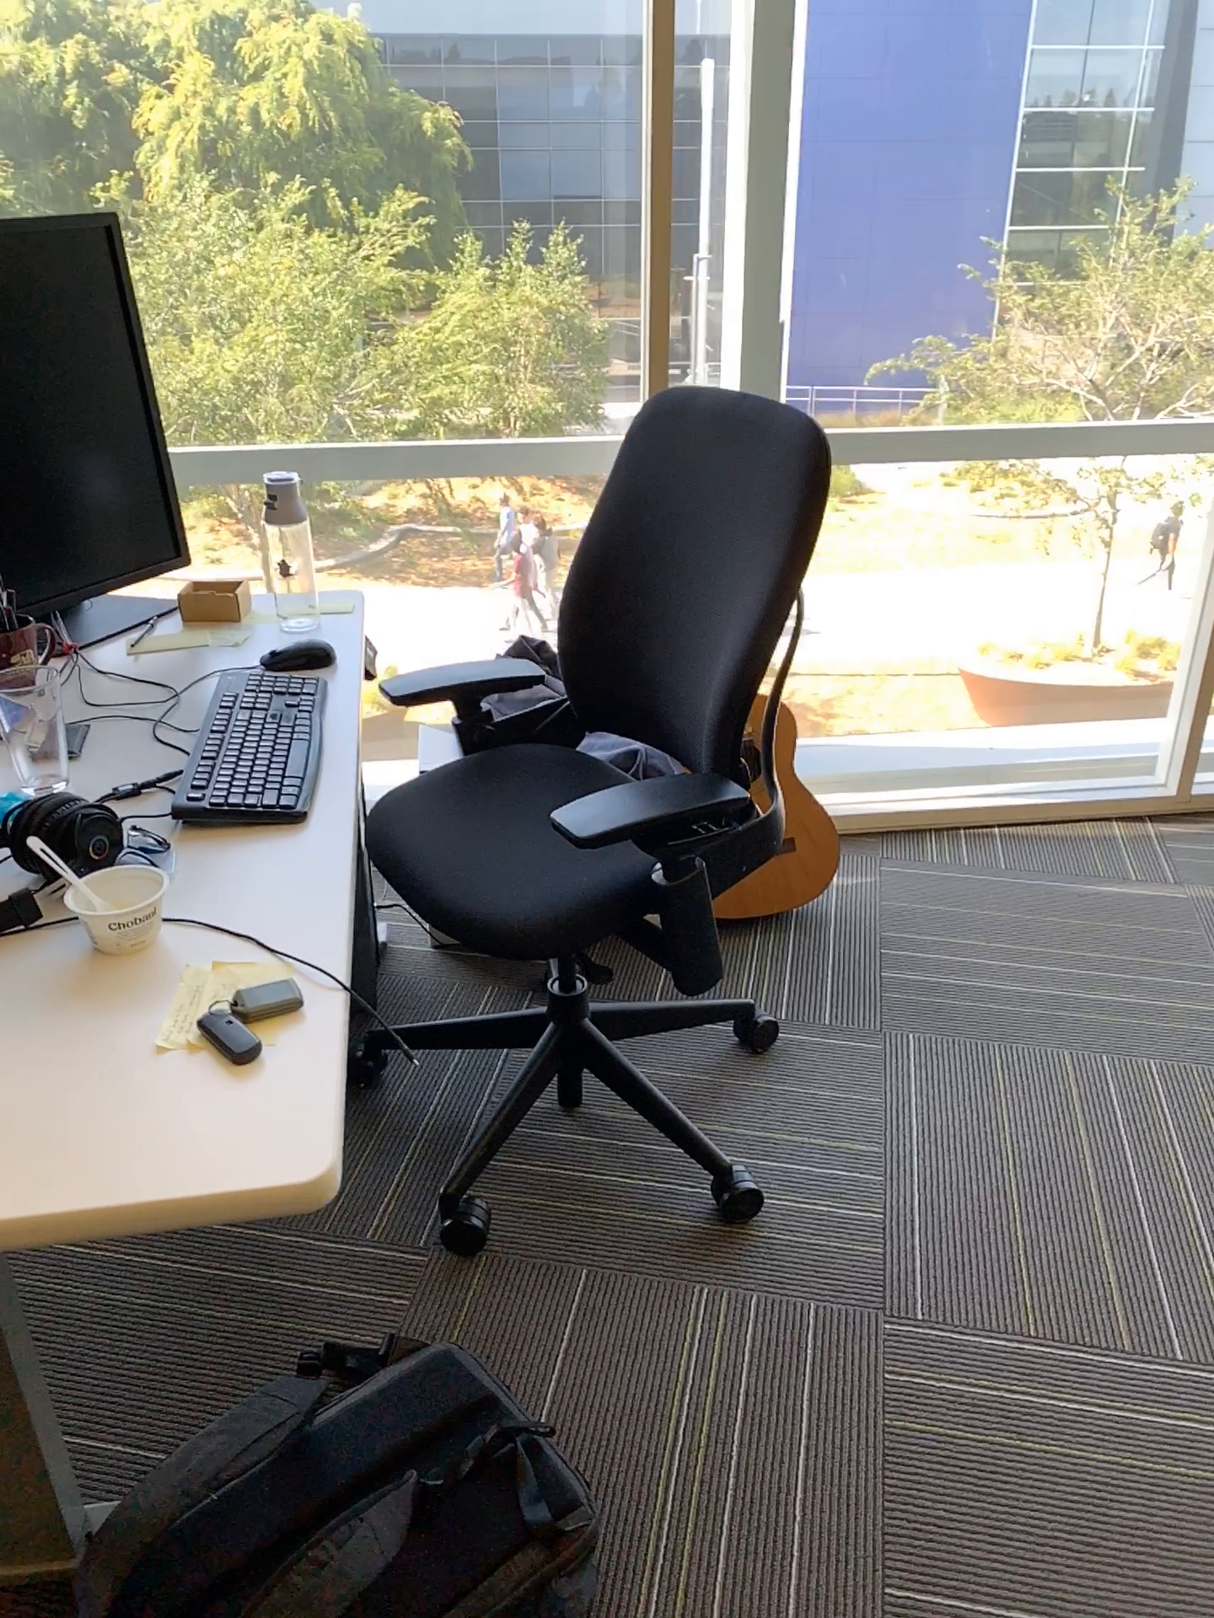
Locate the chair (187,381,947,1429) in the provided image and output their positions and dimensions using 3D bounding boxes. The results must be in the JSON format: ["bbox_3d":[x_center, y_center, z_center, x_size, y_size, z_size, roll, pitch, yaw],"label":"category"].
[{"bbox_3d":[-0.069,0.071,1.855,0.690,1.223,0.714,-18,31,-32],"label":"chair"}]
